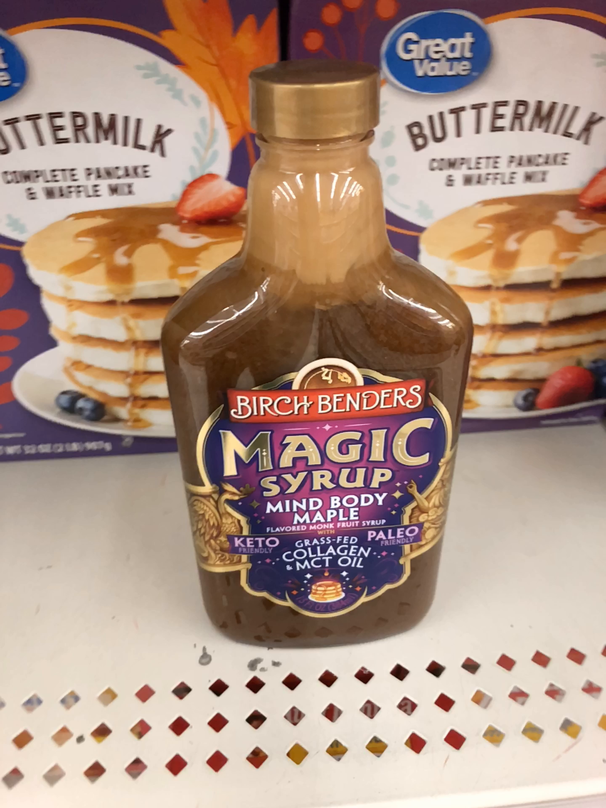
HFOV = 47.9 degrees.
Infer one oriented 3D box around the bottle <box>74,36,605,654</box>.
[{"bbox_3d":[0.008,-0.003,0.202,0.100,0.180,0.050,-2,37,-1],"label":"bottle"}]
